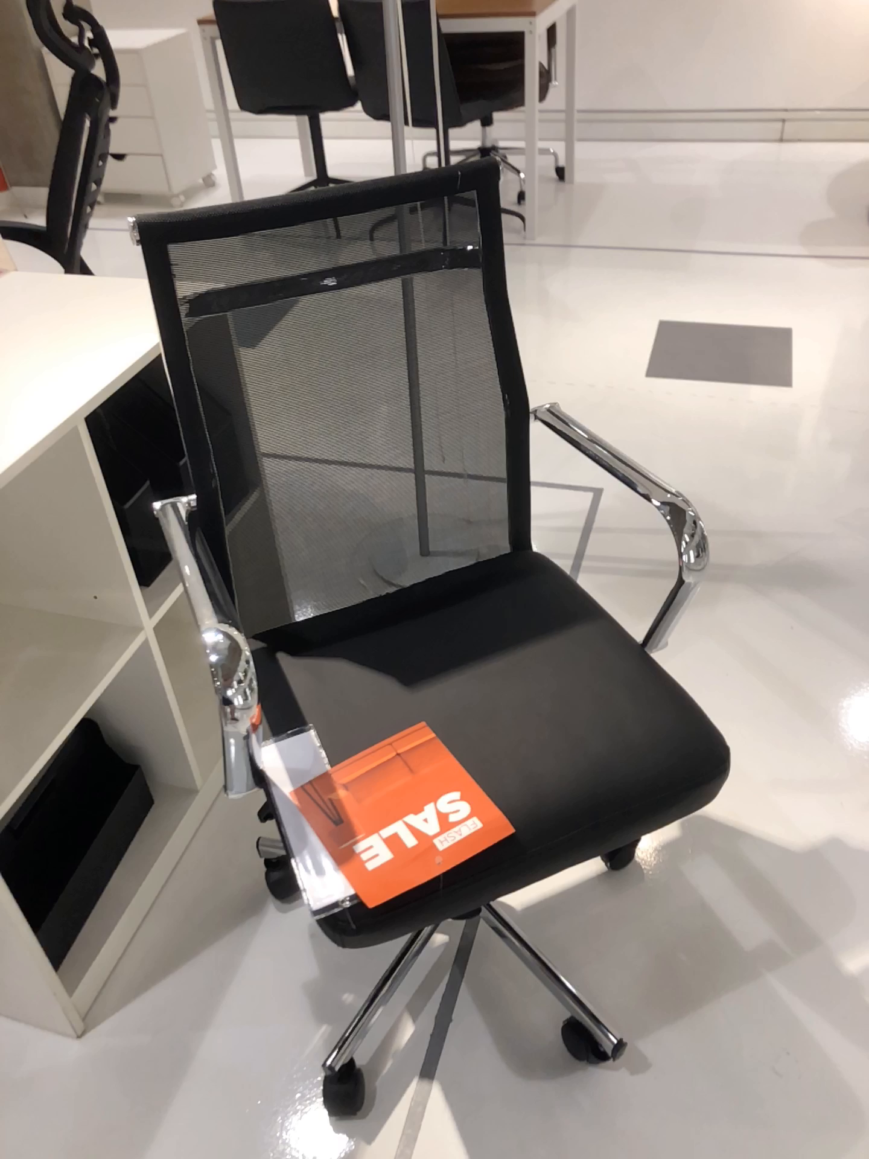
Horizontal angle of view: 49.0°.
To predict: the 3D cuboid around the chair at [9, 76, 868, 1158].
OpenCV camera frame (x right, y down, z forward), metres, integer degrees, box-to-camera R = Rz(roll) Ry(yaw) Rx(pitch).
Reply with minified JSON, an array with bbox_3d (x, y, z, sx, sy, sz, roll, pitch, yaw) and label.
[{"bbox_3d":[0.028,0.071,1.088,0.611,0.993,0.623,-19,40,-17],"label":"chair"}]
